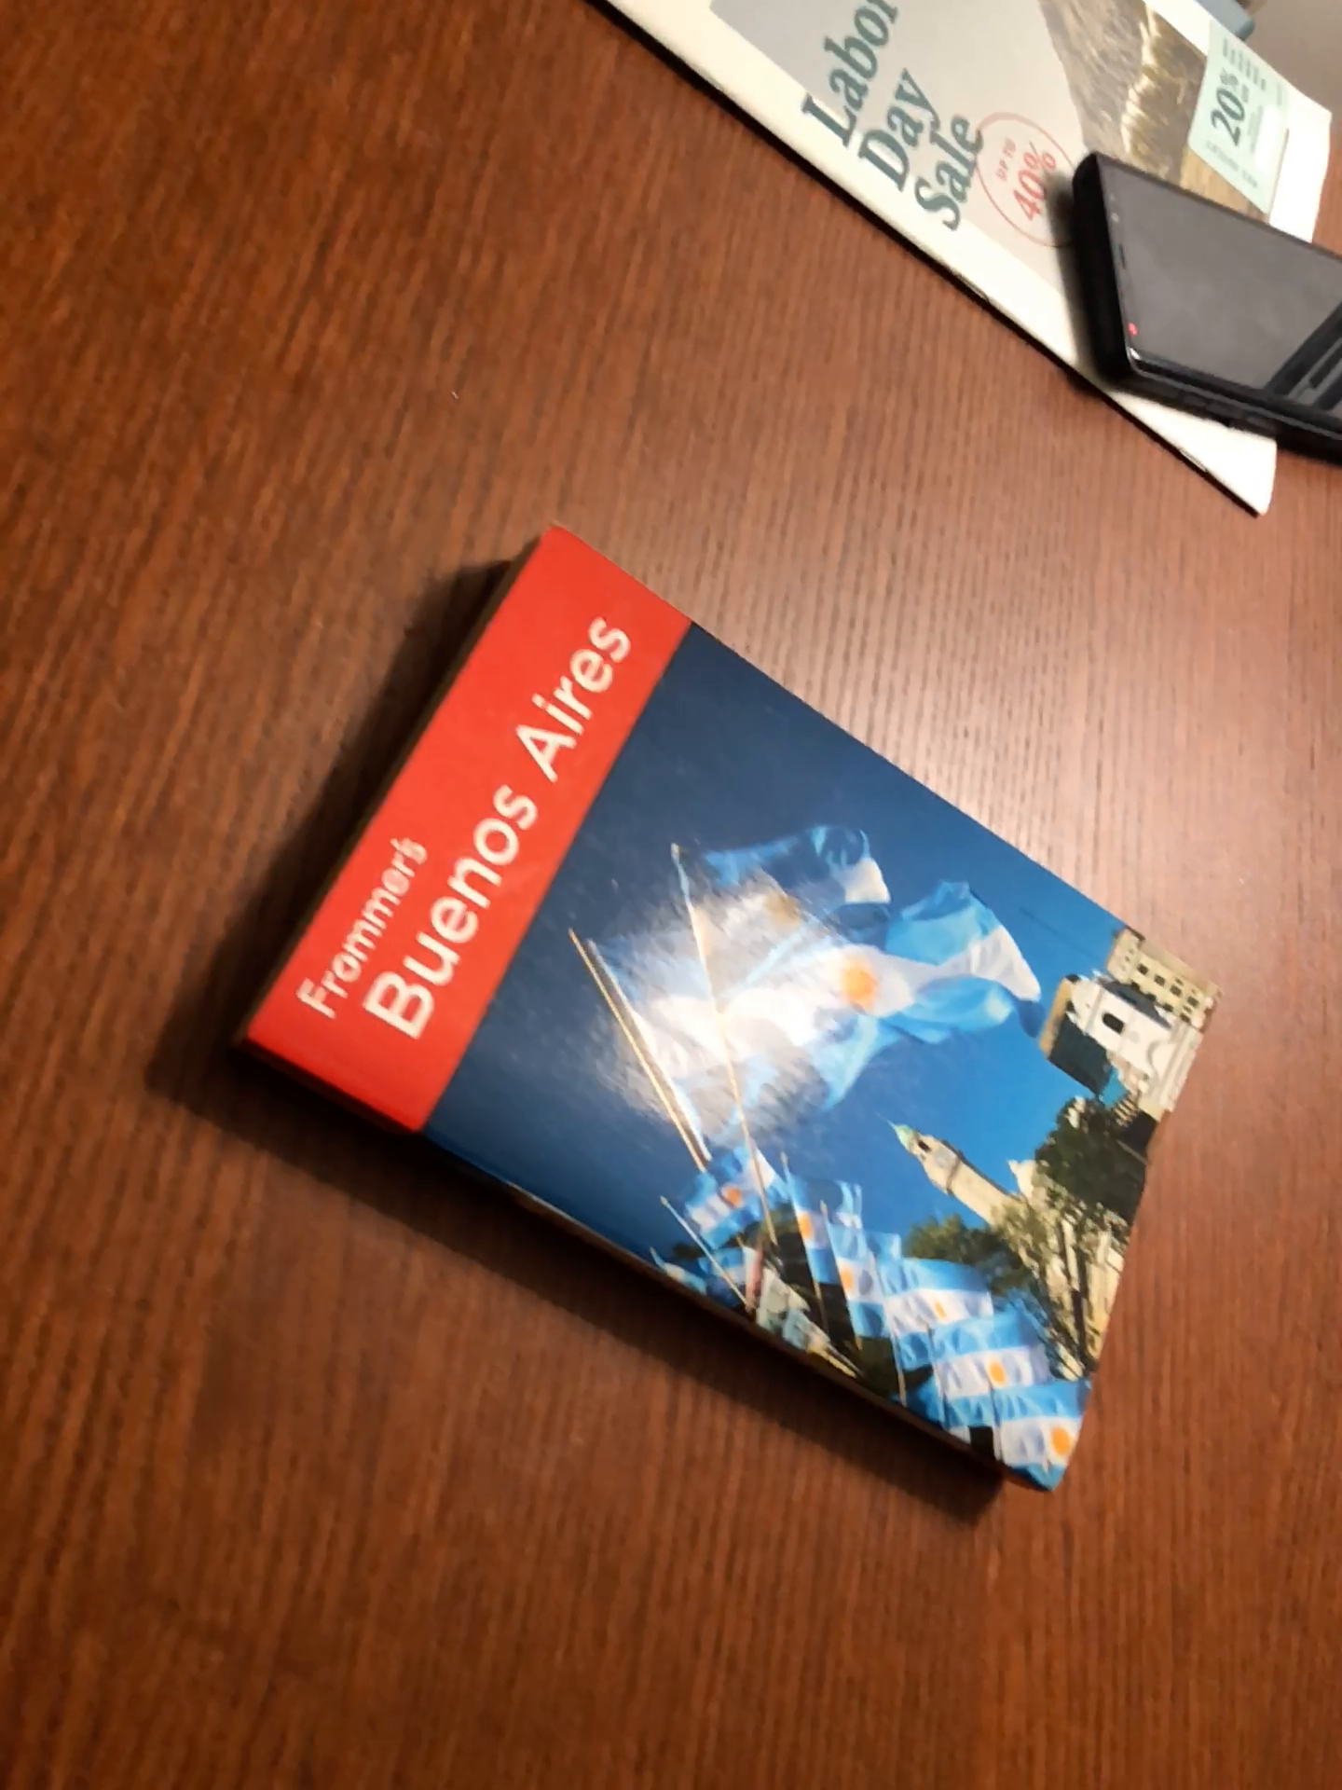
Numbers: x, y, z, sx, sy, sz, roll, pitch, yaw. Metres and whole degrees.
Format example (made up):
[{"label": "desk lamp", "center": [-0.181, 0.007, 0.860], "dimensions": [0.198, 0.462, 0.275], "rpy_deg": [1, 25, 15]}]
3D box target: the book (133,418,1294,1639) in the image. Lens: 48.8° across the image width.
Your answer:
[{"label": "book", "center": [0.033, 0.027, 0.308], "dimensions": [0.220, 0.020, 0.161], "rpy_deg": [34, 61, -17]}]
